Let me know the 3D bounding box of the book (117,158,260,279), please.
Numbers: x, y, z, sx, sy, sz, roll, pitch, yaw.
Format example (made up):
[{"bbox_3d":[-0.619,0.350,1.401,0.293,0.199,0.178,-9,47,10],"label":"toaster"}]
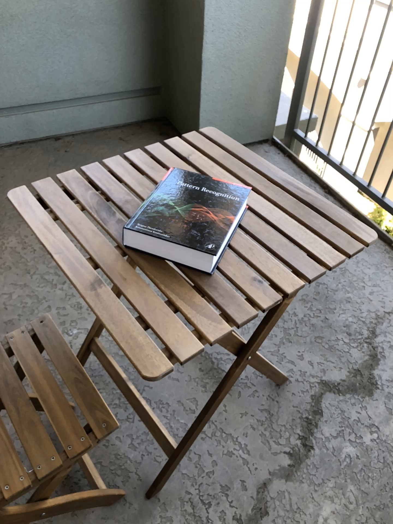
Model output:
[{"bbox_3d":[-0.008,-0.103,0.913,0.210,0.070,0.251,18,46,14],"label":"book"}]
